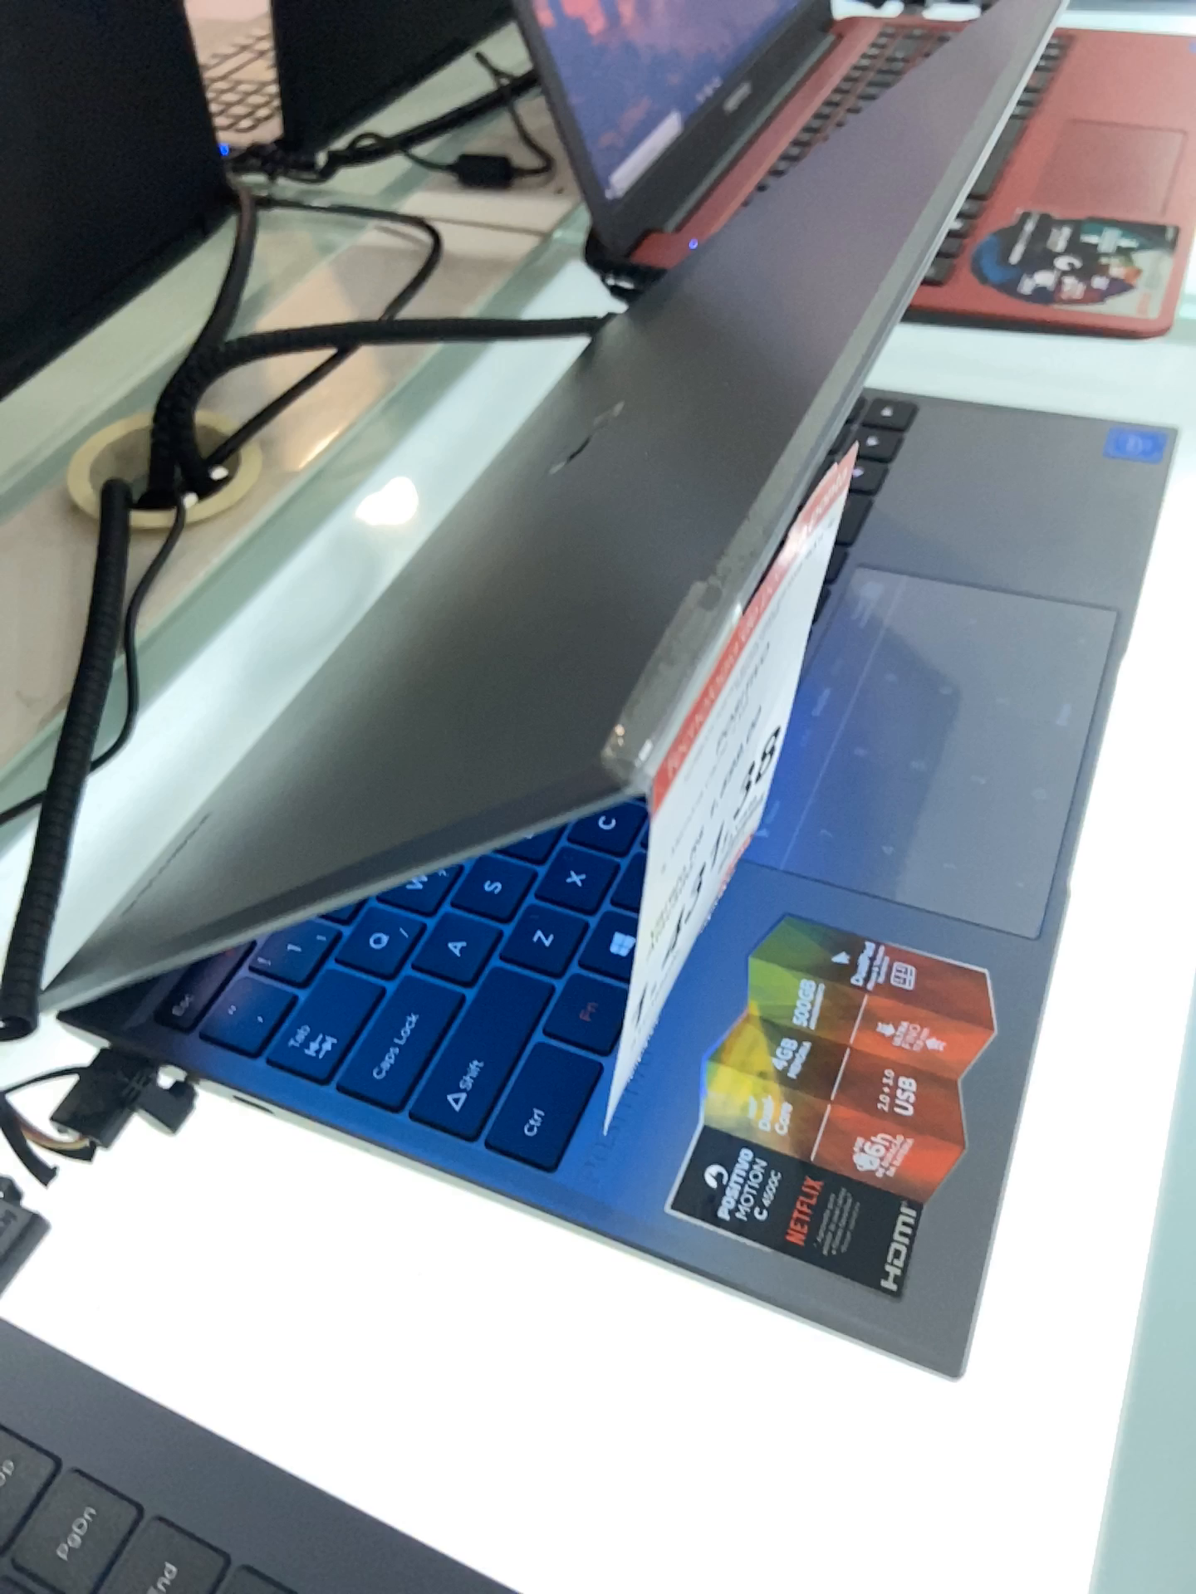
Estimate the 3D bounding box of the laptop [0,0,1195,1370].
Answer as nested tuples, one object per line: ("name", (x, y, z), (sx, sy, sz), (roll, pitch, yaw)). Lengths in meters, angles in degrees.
("laptop", (0.027, -0.083, 0.308), (0.210, 0.139, 0.329), (15, 50, 19))
